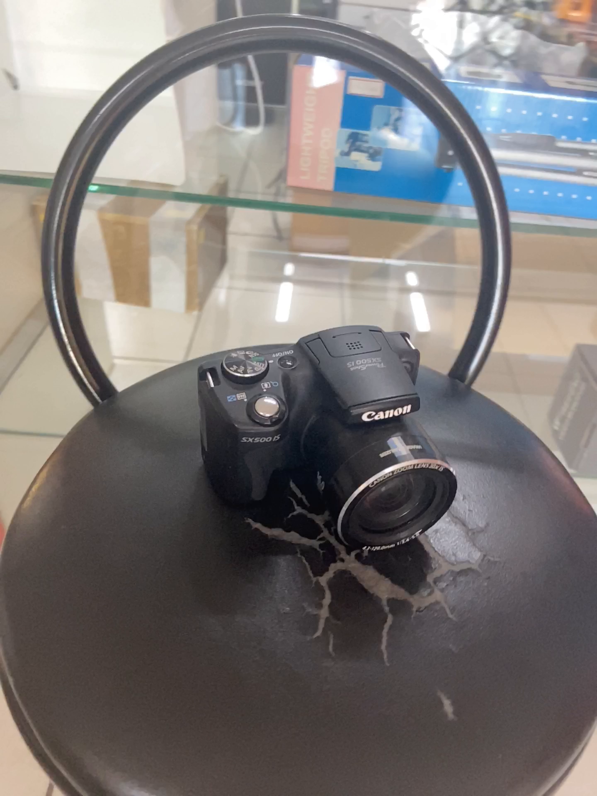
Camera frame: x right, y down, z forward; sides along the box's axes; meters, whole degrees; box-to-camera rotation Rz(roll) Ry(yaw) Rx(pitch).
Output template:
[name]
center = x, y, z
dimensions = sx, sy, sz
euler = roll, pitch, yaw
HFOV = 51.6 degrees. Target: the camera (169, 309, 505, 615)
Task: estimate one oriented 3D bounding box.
[camera]
center = 0.010, 0.021, 0.274
dimensions = 0.110, 0.070, 0.090
euler = -12, 40, -18
